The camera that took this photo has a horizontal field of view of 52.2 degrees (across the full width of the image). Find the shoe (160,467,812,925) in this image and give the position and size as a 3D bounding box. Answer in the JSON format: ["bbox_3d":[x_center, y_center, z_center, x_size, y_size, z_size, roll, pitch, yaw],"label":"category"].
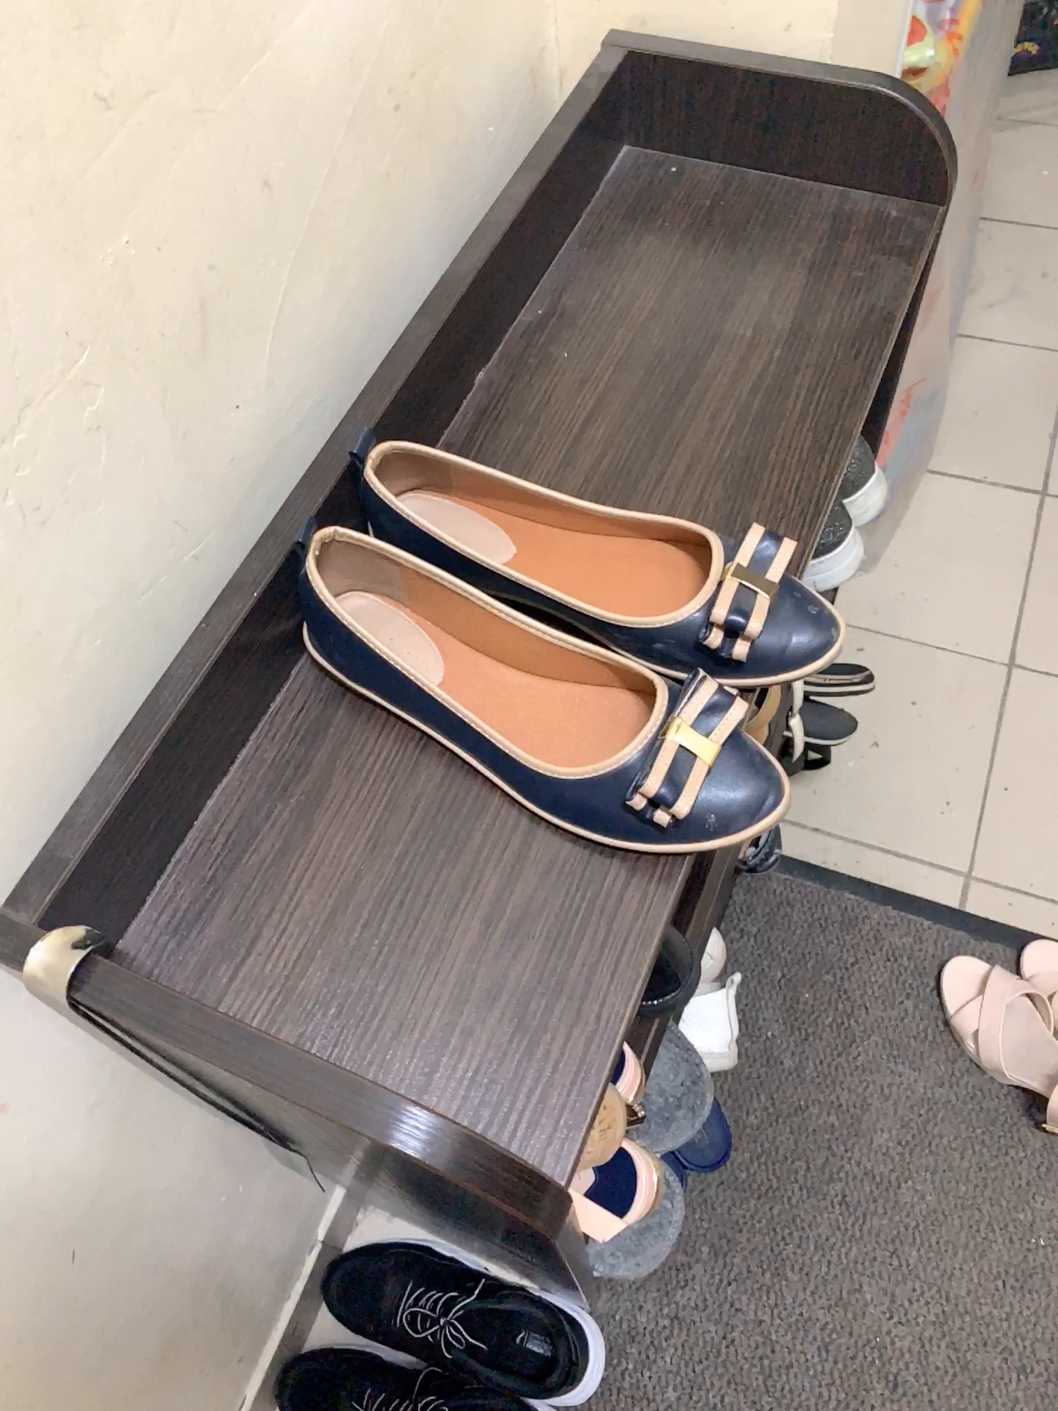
[{"bbox_3d":[-0.020,-0.008,0.526,0.280,0.100,0.100,21,69,18],"label":"shoe"}]

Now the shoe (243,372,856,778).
[{"bbox_3d":[0.010,-0.071,0.564,0.280,0.100,0.100,19,68,17],"label":"shoe"}]
